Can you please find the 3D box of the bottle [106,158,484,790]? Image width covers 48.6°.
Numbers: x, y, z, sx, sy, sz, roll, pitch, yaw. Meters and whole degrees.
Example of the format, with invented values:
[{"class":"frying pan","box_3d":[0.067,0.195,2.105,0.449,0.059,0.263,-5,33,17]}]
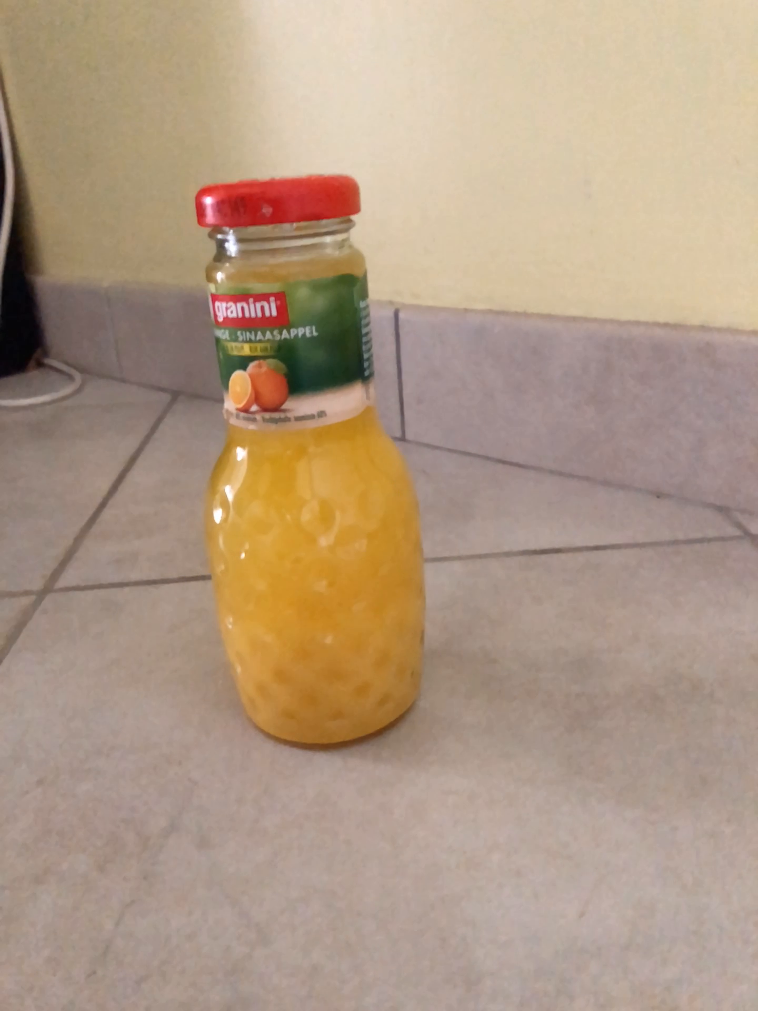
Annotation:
[{"class":"bottle","box_3d":[-0.016,-0.011,0.242,0.070,0.159,0.060,9,26,28]}]
